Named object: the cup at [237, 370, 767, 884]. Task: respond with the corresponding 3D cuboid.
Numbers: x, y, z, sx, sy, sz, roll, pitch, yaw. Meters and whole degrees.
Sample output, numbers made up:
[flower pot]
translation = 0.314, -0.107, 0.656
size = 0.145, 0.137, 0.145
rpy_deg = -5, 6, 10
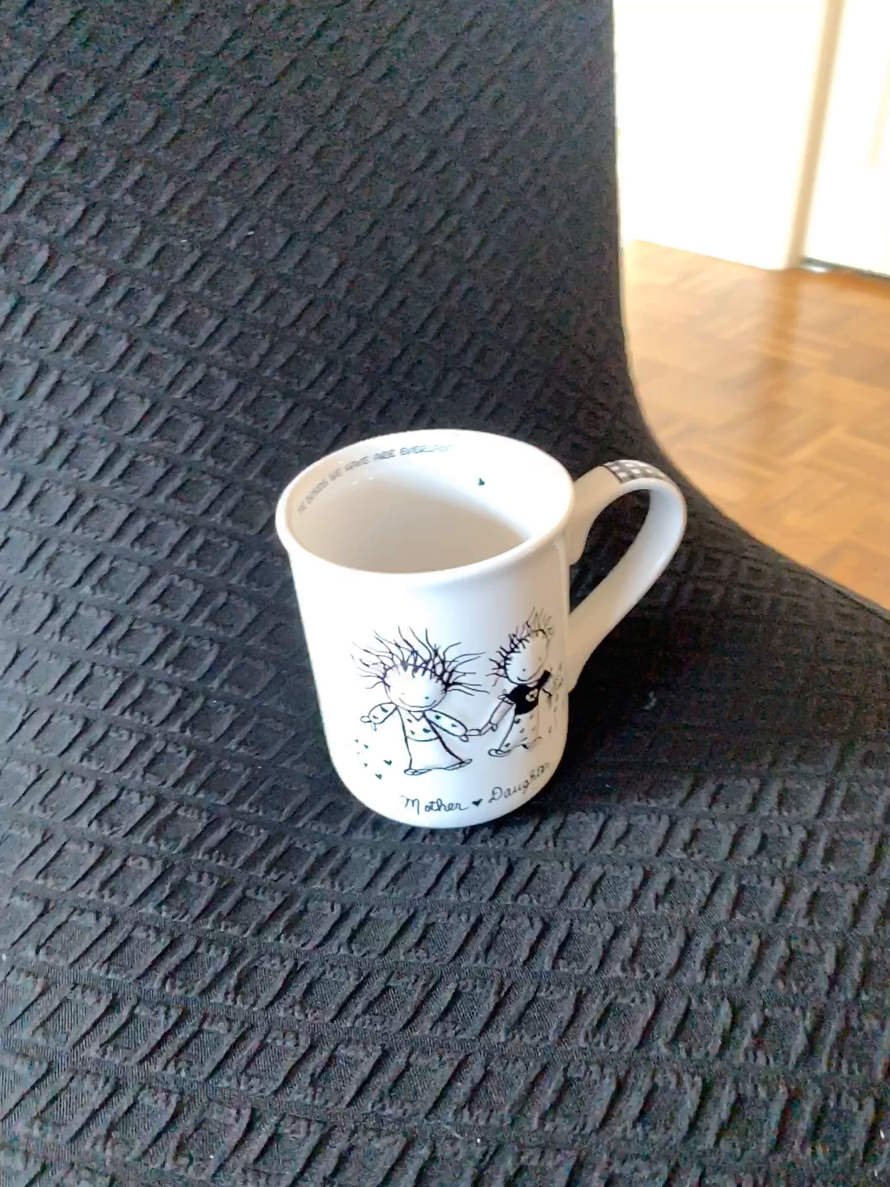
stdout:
[cup]
translation = 0.016, 0.006, 0.325
size = 0.140, 0.109, 0.101
rpy_deg = -16, 39, -13
